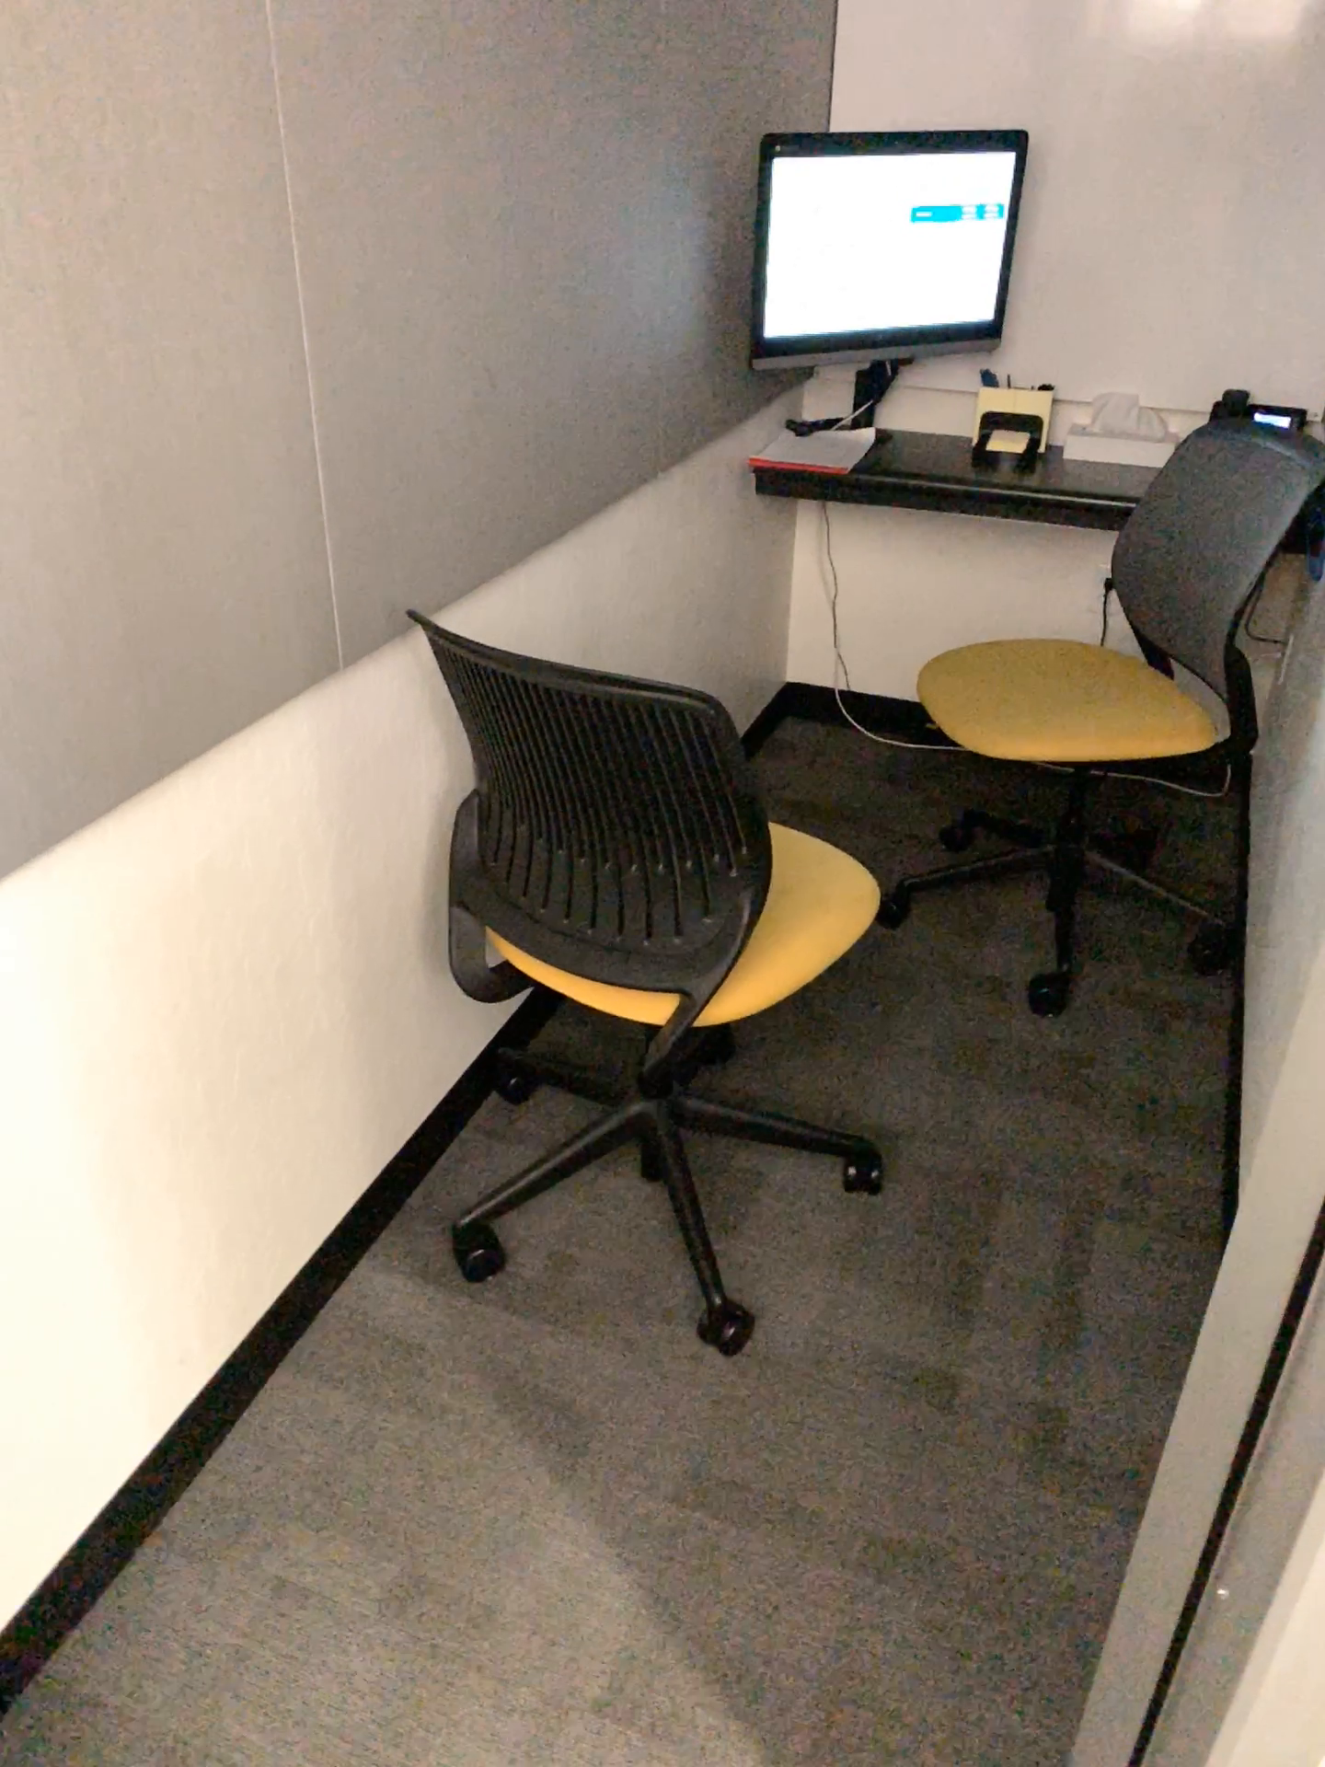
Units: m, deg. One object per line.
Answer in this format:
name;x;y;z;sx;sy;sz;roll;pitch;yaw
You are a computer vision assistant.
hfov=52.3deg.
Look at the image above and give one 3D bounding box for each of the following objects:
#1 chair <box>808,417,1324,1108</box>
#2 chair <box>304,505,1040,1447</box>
chair;0.942;-0.306;2.775;0.950;1.034;0.926;-7;32;-13
chair;0.014;0.069;1.654;0.552;0.845;0.572;23;37;32
